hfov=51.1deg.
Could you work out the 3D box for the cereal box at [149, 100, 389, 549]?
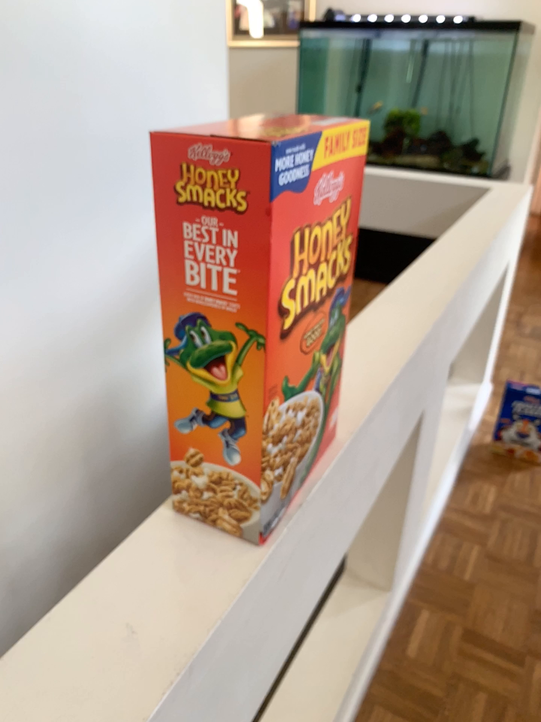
[{"bbox_3d":[0.009,-0.043,0.512,0.100,0.338,0.211,14,30,23],"label":"cereal box"}]
